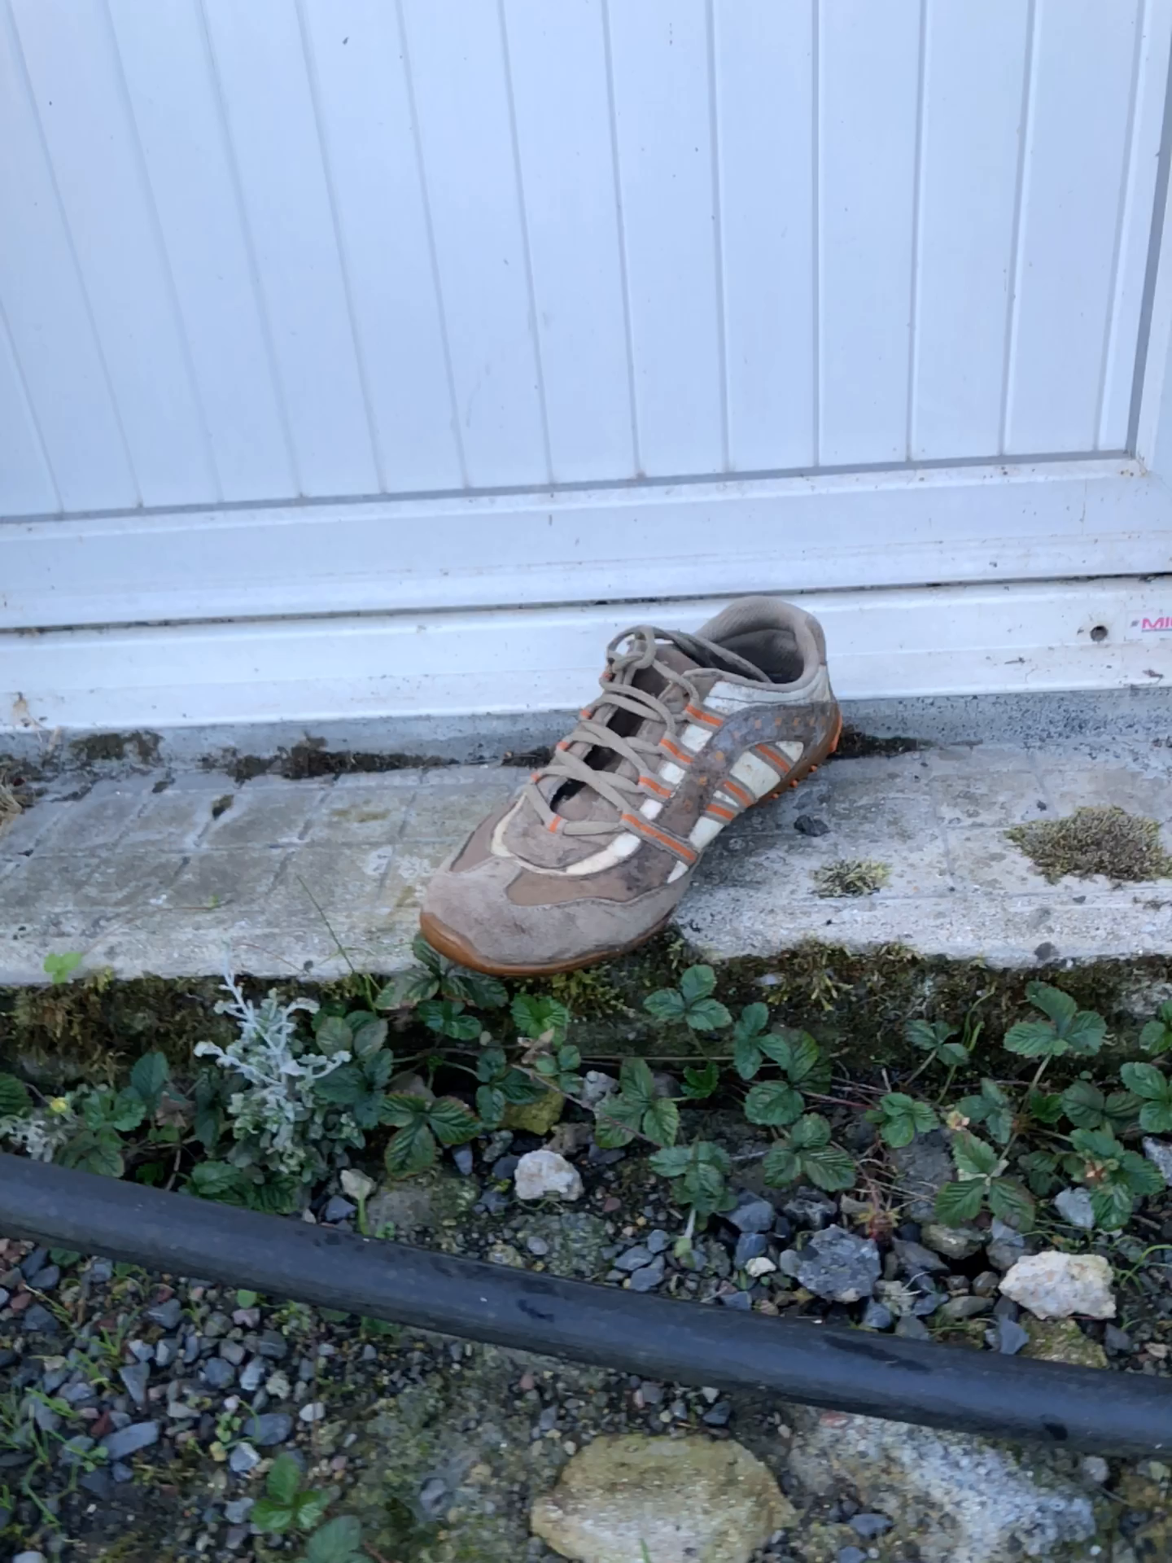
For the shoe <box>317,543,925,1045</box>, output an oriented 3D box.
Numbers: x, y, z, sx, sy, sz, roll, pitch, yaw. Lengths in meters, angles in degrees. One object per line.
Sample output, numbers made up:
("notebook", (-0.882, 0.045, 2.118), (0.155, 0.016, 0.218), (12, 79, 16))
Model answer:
("shoe", (0.030, -0.012, 0.594), (0.271, 0.099, 0.110), (-29, 37, -35))
